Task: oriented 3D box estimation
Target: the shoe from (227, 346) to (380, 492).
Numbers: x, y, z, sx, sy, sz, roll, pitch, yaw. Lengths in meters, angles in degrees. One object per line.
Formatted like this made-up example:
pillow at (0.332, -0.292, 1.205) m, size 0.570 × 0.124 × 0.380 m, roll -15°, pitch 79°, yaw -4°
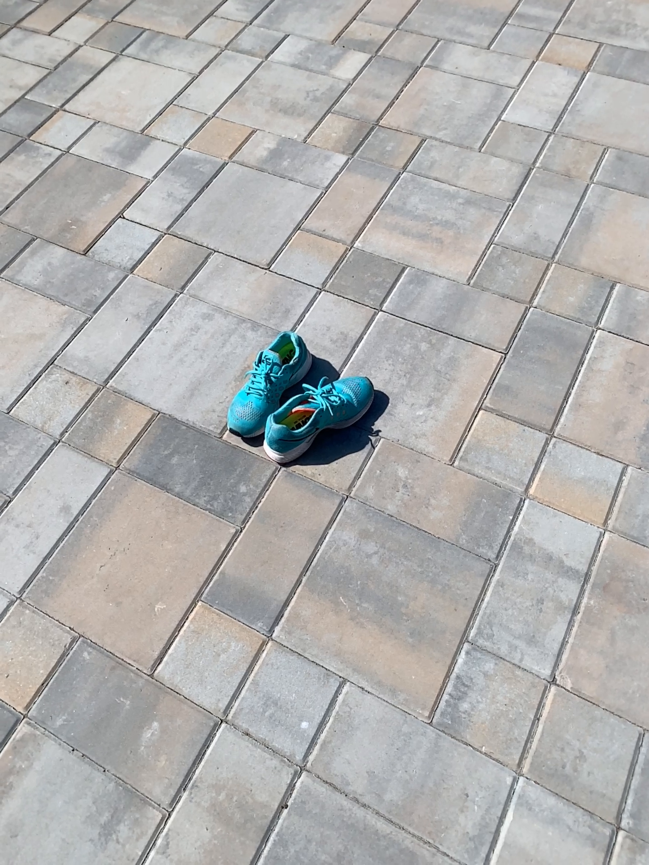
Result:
shoe at (-0.037, -0.029, 1.324) m, size 0.270 × 0.100 × 0.130 m, roll -38°, pitch 64°, yaw -11°

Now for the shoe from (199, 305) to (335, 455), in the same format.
shoe at (-0.109, -0.109, 1.330) m, size 0.130 × 0.100 × 0.270 m, roll 27°, pitch 65°, yaw 19°
